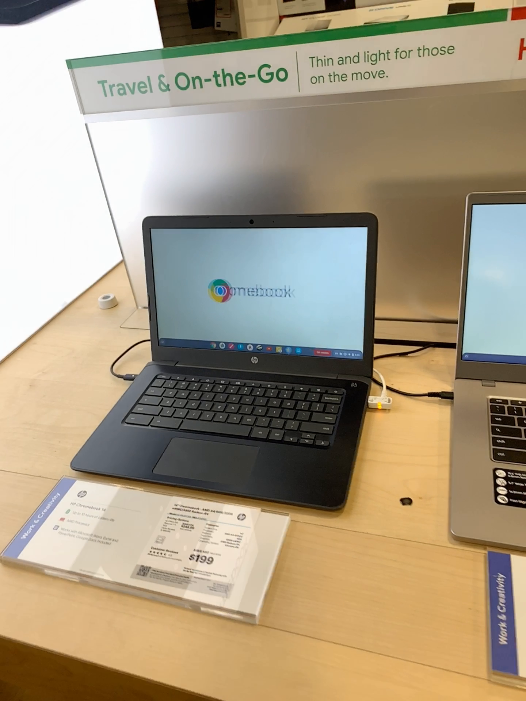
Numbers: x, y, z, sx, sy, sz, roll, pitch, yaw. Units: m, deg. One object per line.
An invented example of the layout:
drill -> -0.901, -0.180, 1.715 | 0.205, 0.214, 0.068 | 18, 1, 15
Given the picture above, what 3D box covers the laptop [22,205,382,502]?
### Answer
laptop -> -0.038, -0.021, 0.657 | 0.320, 0.198, 0.293 | 3, 35, 19
